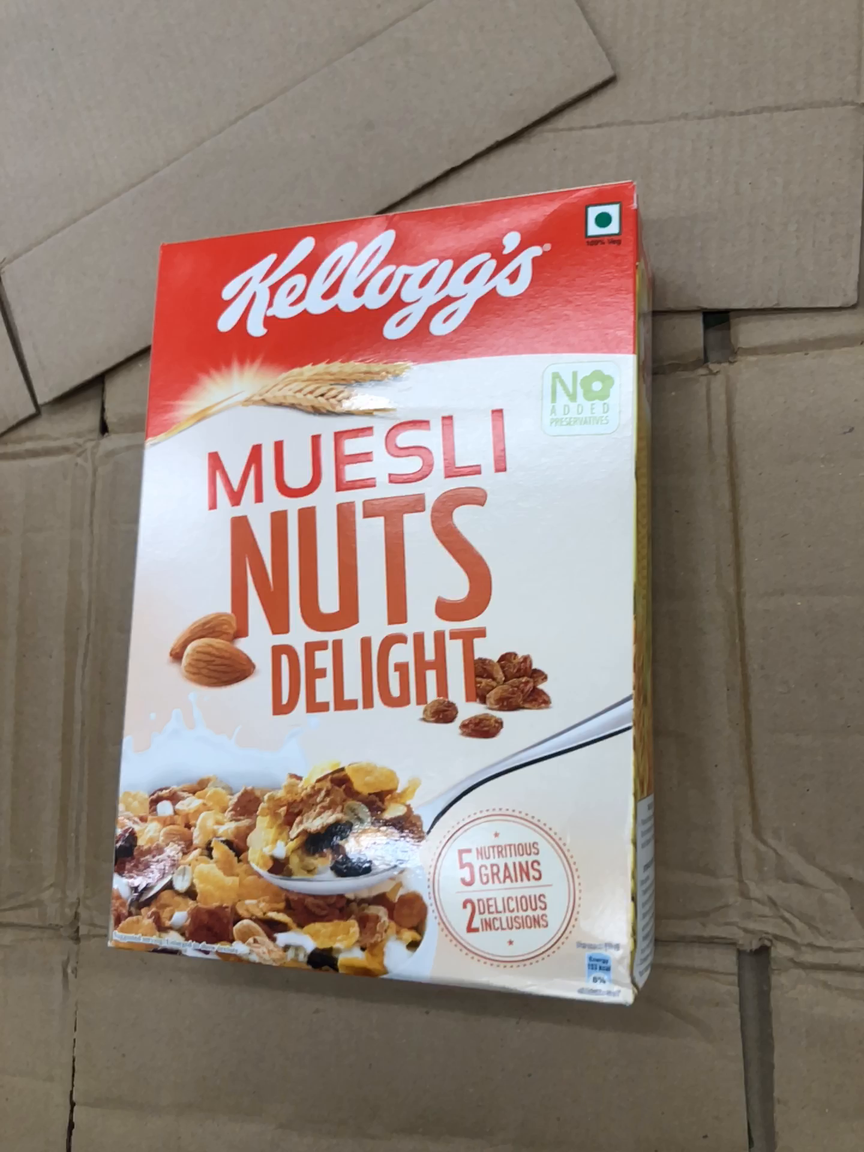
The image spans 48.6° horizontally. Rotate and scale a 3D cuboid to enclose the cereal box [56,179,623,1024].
[{"bbox_3d":[-0.027,0.005,0.353,0.180,0.070,0.260,0,81,18],"label":"cereal box"}]
